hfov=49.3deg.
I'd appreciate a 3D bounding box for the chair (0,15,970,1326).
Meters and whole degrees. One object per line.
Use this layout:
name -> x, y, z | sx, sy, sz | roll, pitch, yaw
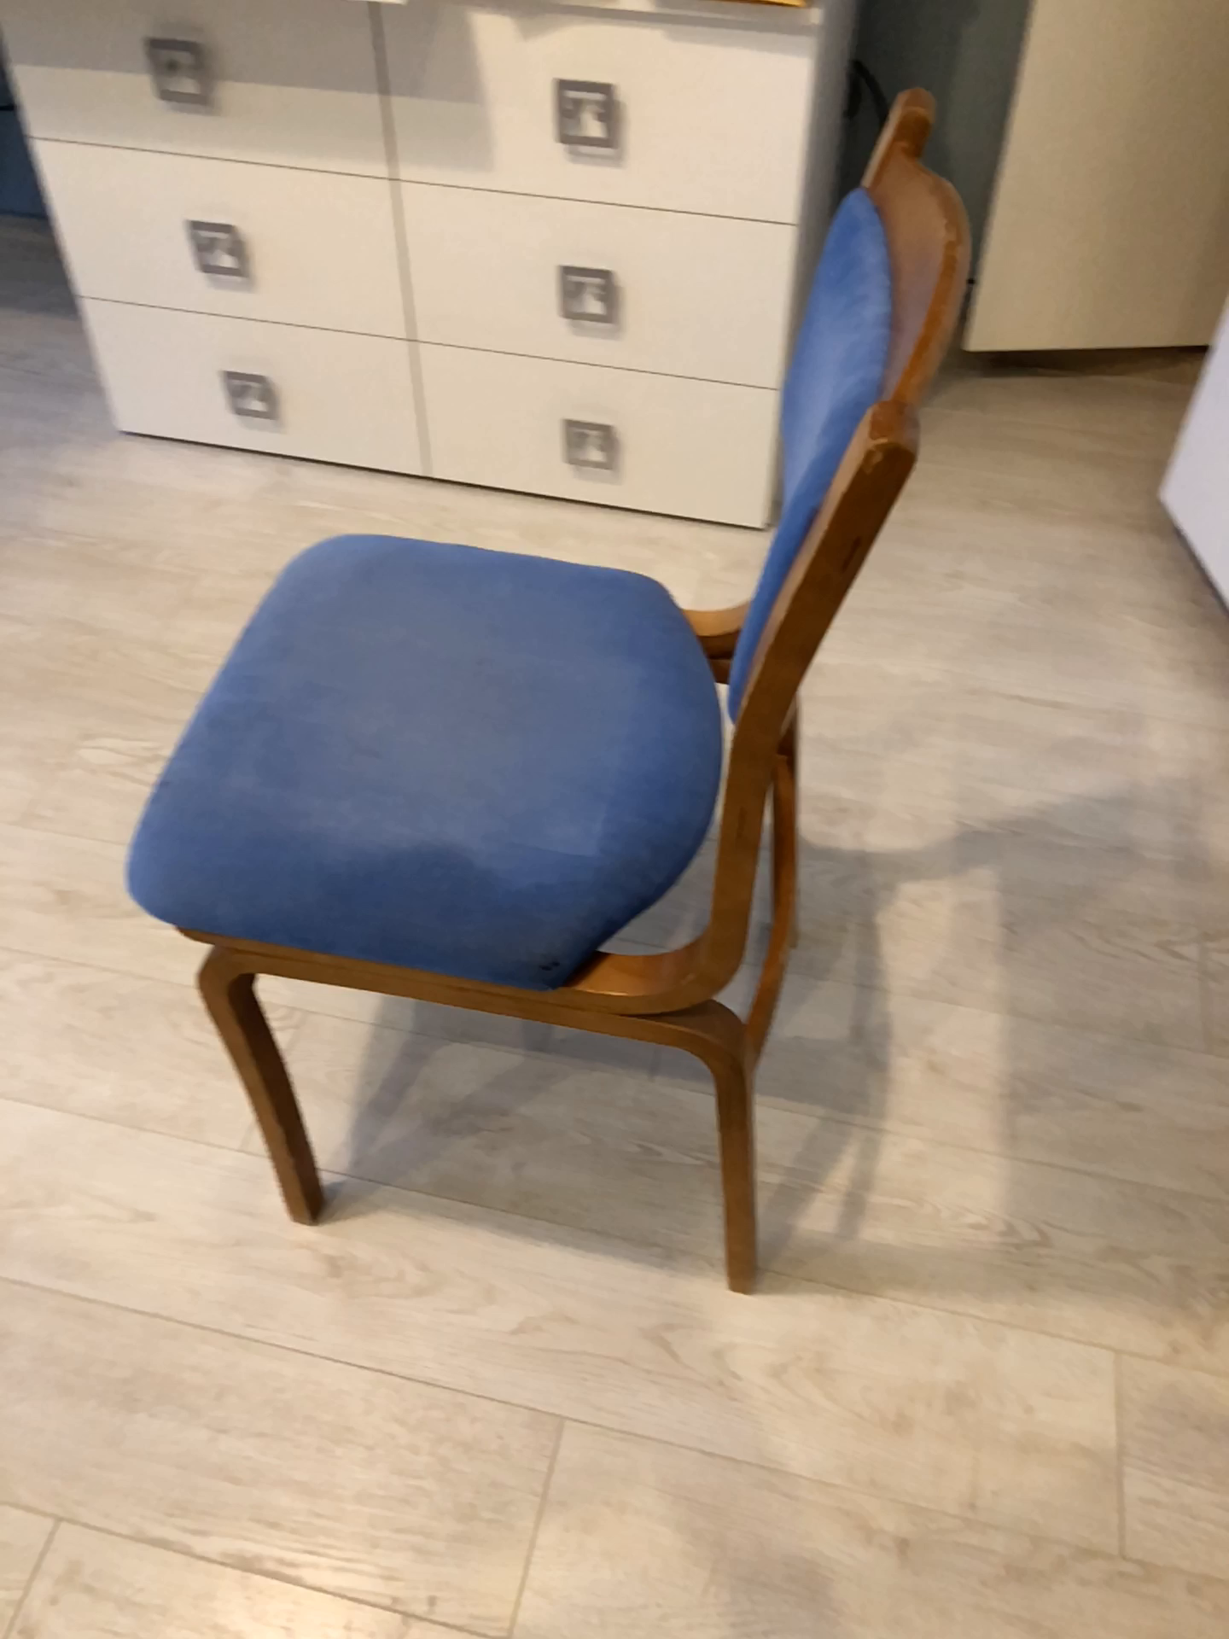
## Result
chair -> -0.062, -0.048, 0.981 | 0.470, 0.805, 0.453 | 8, 49, 6
